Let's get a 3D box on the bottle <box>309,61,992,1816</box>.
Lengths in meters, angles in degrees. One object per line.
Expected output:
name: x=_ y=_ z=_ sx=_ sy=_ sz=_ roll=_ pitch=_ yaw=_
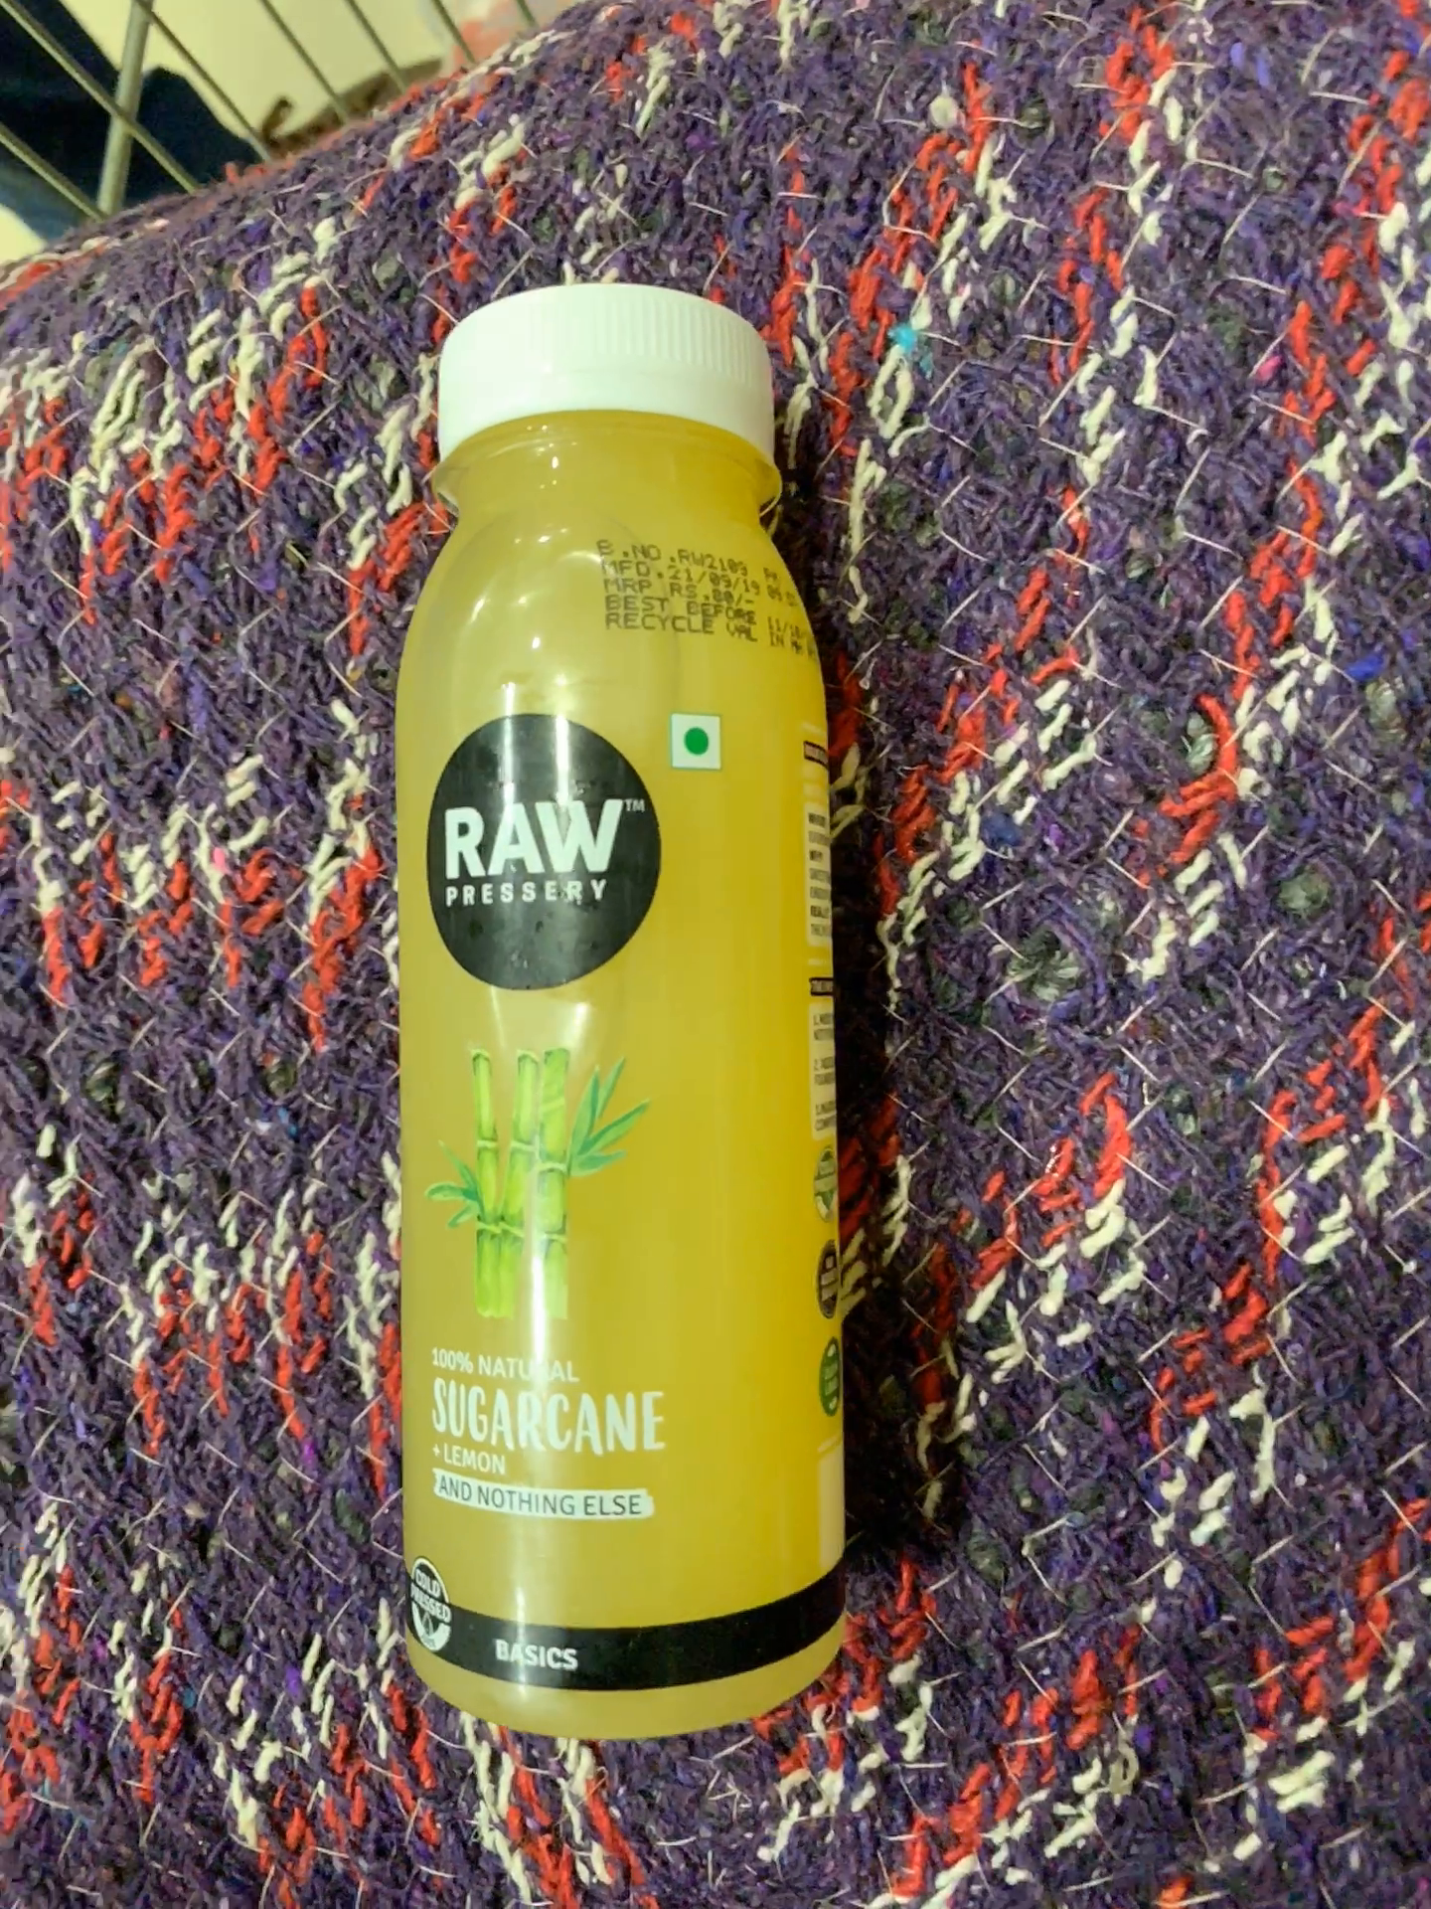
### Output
bottle: x=-0.005 y=-0.001 z=0.169 sx=0.060 sy=0.050 sz=0.160 roll=-2 pitch=88 yaw=19
